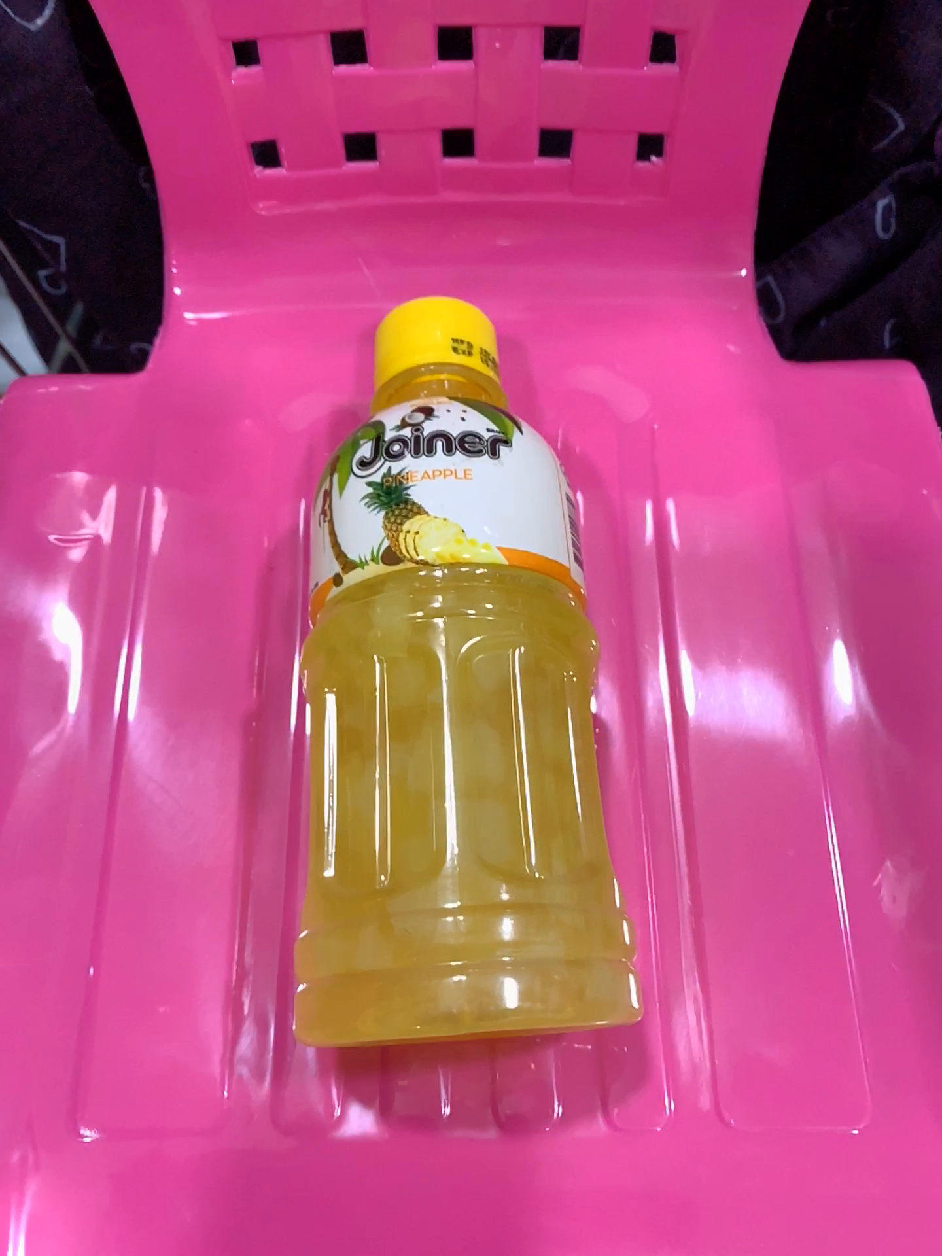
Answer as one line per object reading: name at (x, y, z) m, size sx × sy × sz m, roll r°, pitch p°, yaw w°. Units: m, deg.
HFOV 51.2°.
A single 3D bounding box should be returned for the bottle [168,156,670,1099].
bottle at (-0.009, 0.001, 0.196) m, size 0.070 × 0.060 × 0.160 m, roll -9°, pitch 70°, yaw 16°
